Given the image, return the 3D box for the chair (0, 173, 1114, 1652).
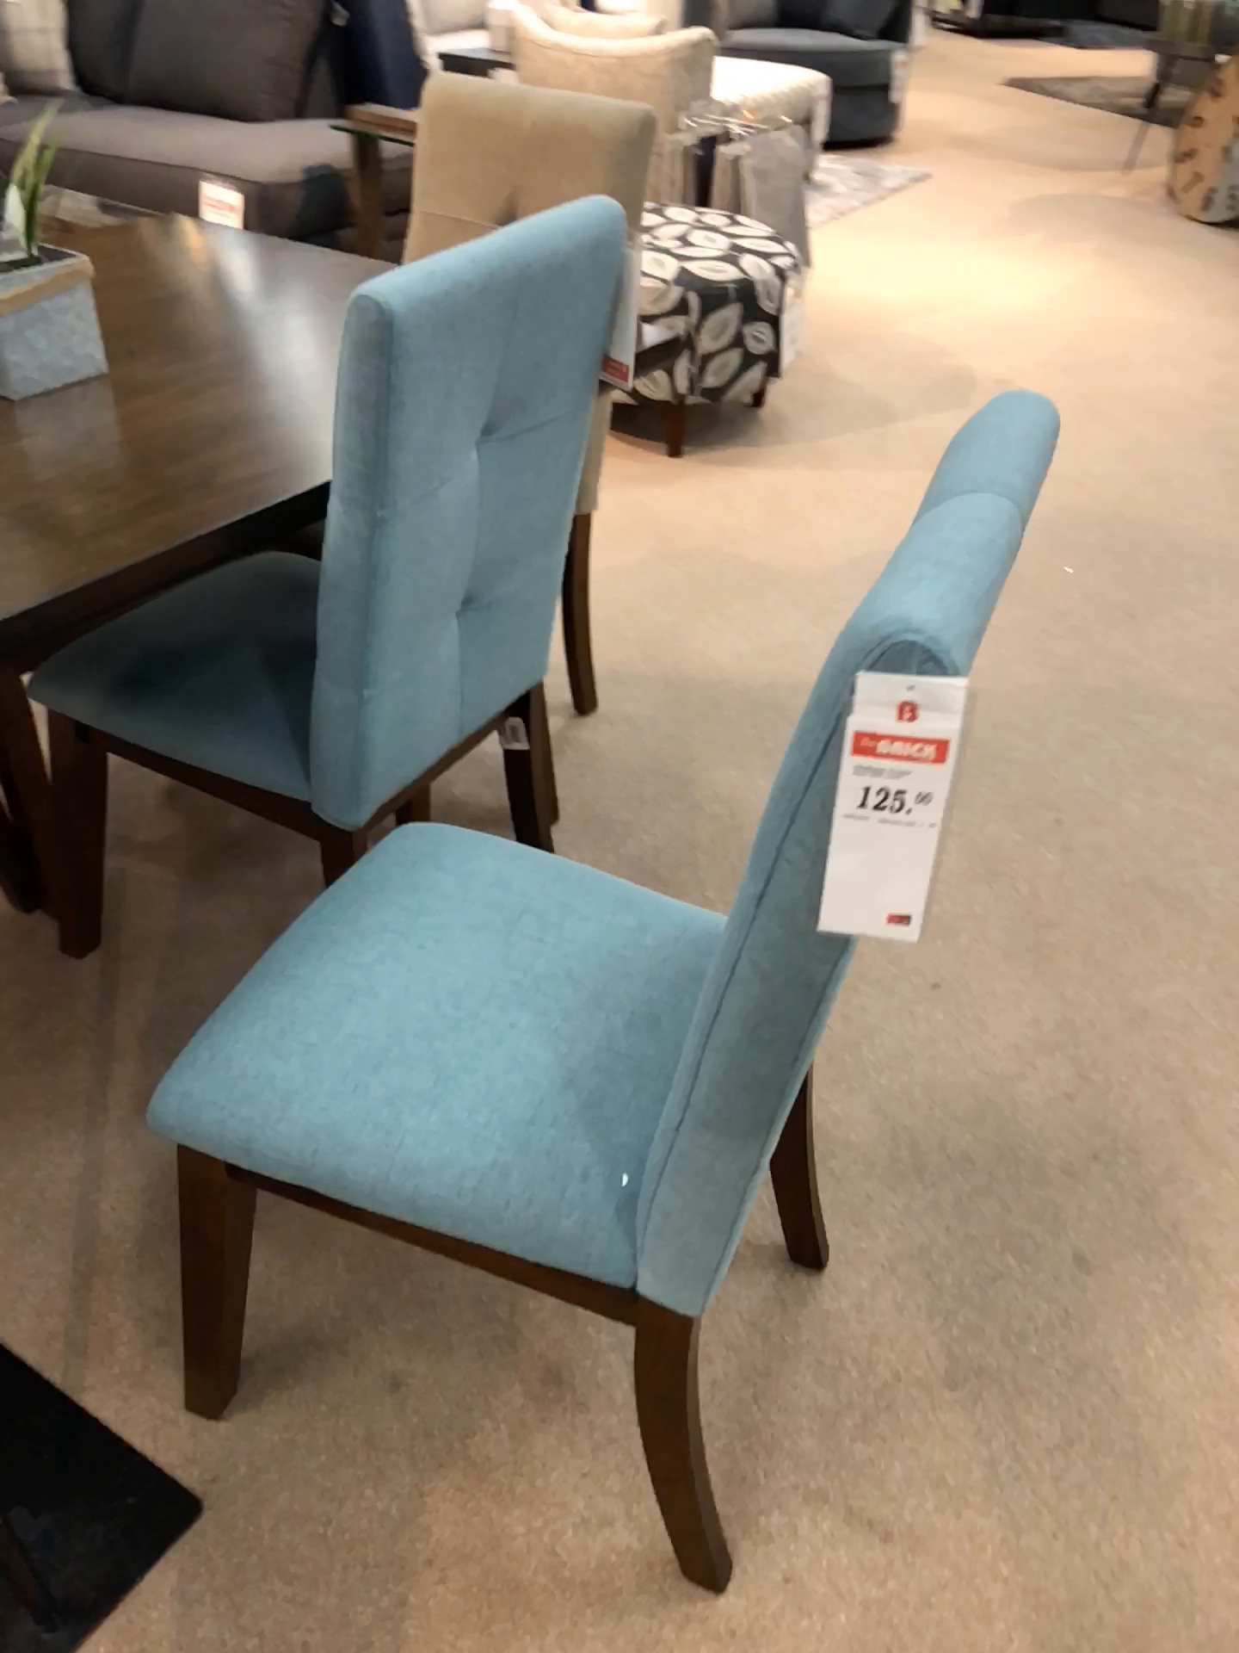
[{"bbox_3d":[-0.081,0.098,1.107,0.621,0.993,0.543,17,38,15],"label":"chair"}]
